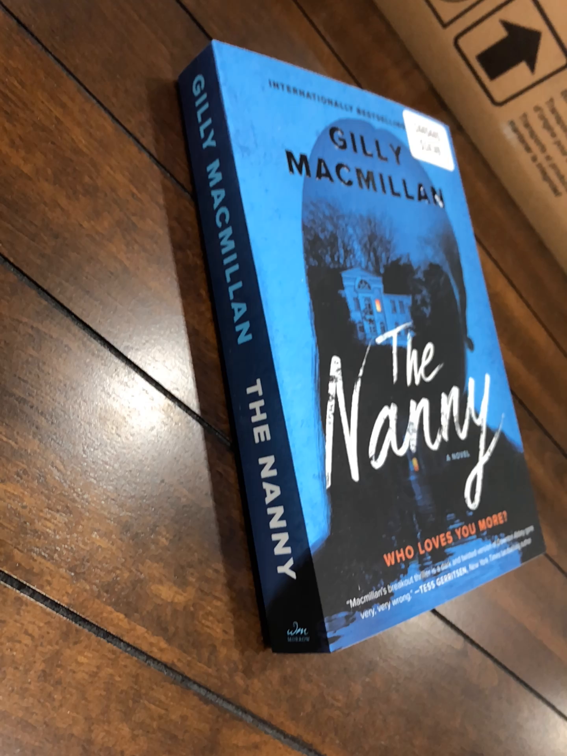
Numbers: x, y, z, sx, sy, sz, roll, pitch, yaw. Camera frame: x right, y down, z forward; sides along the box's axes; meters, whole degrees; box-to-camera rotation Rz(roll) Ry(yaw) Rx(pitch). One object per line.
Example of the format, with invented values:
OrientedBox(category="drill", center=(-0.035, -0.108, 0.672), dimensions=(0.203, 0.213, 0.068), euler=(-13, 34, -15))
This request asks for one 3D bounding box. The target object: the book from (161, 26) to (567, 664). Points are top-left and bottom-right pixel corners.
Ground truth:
OrientedBox(category="book", center=(0.044, -0.019, 0.285), dimensions=(0.161, 0.040, 0.230), euler=(-1, 75, -40))
